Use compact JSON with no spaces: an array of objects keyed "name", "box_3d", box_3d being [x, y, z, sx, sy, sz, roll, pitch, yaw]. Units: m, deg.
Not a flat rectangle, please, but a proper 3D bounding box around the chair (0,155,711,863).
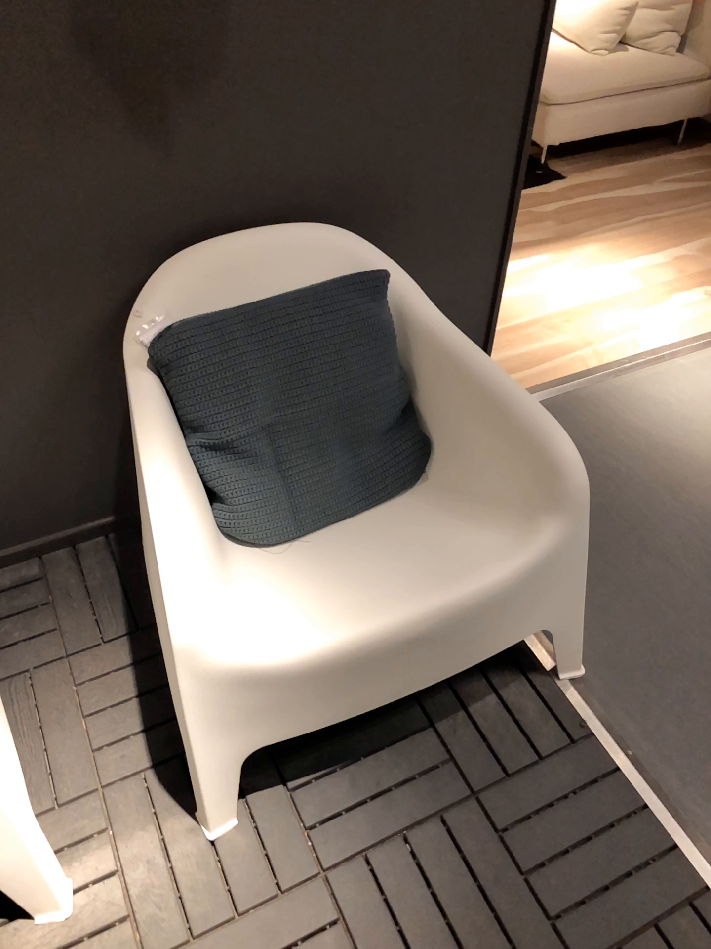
[{"name":"chair","box_3d":[-0.051,0.002,1.430,0.831,0.765,0.784,-19,48,-21]}]
